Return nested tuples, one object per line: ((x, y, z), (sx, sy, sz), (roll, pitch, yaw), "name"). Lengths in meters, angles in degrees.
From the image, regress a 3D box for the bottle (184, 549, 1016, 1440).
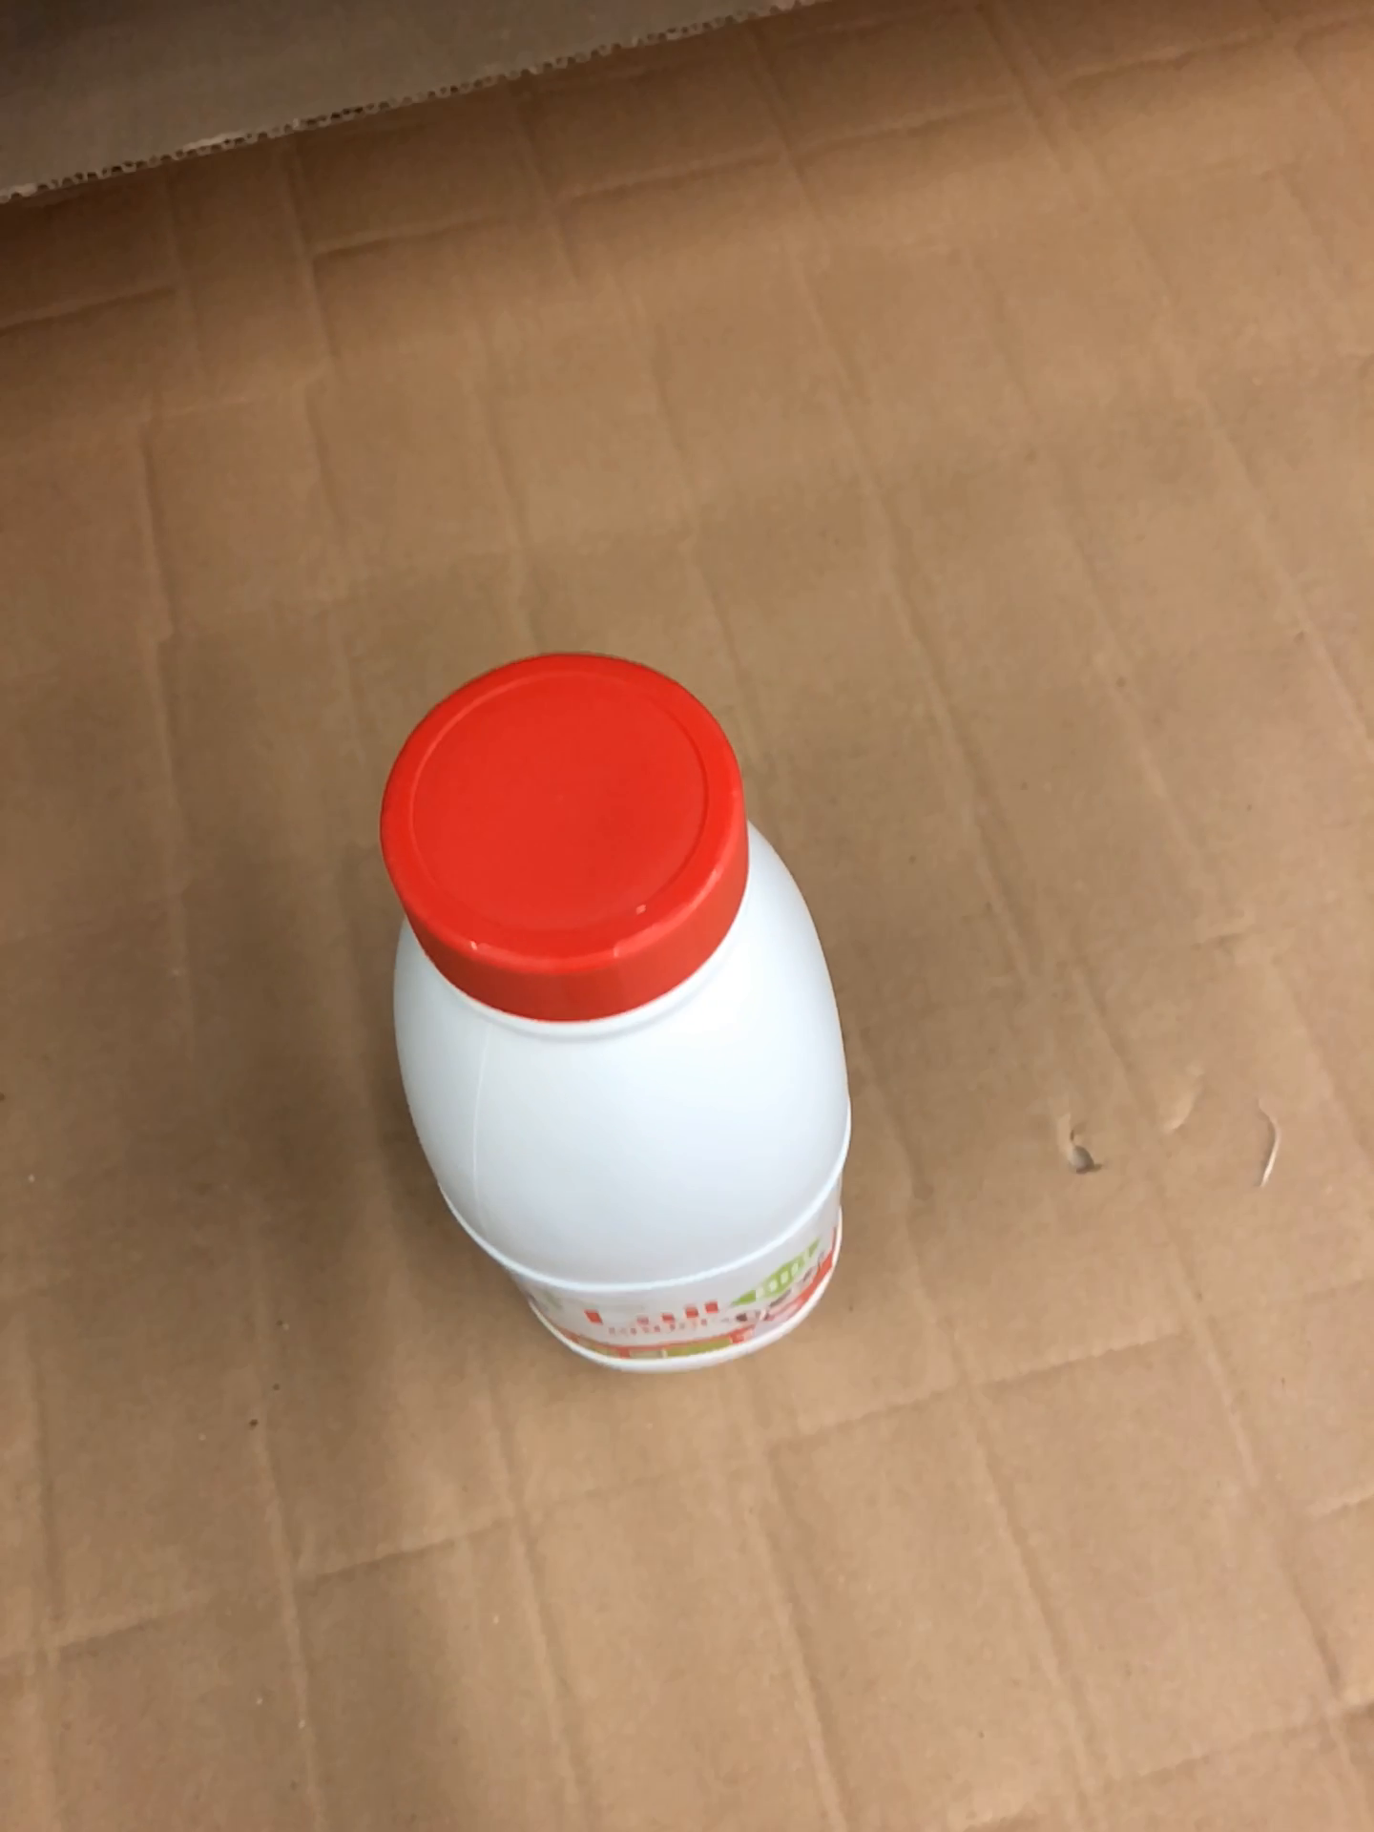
((-0.009, 0.041, 0.301), (0.090, 0.229, 0.080), (-16, 67, -4), "bottle")
